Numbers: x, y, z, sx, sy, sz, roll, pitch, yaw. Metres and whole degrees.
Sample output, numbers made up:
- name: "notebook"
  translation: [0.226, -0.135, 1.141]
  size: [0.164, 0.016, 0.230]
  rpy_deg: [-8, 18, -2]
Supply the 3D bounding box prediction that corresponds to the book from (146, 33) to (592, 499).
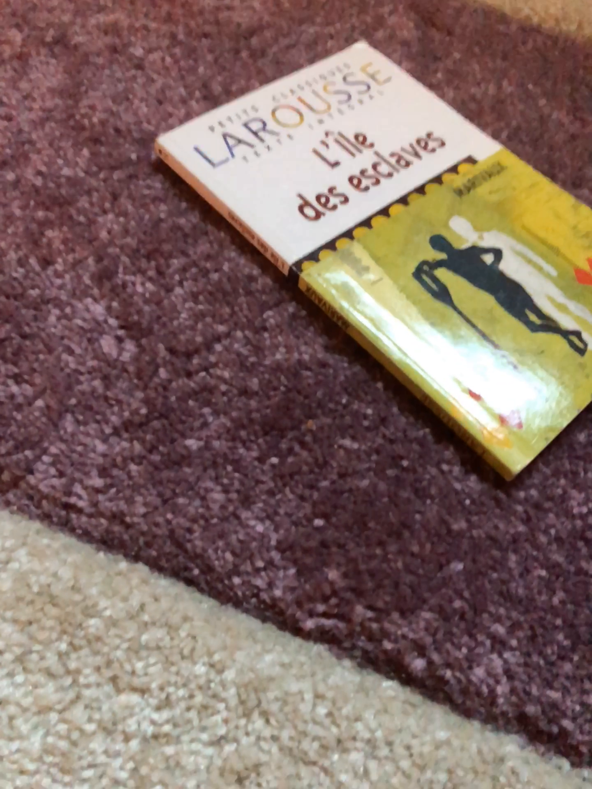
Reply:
- name: "book"
  translation: [0.043, -0.060, 0.234]
  size: [0.110, 0.020, 0.166]
  rpy_deg: [-36, 70, -26]
